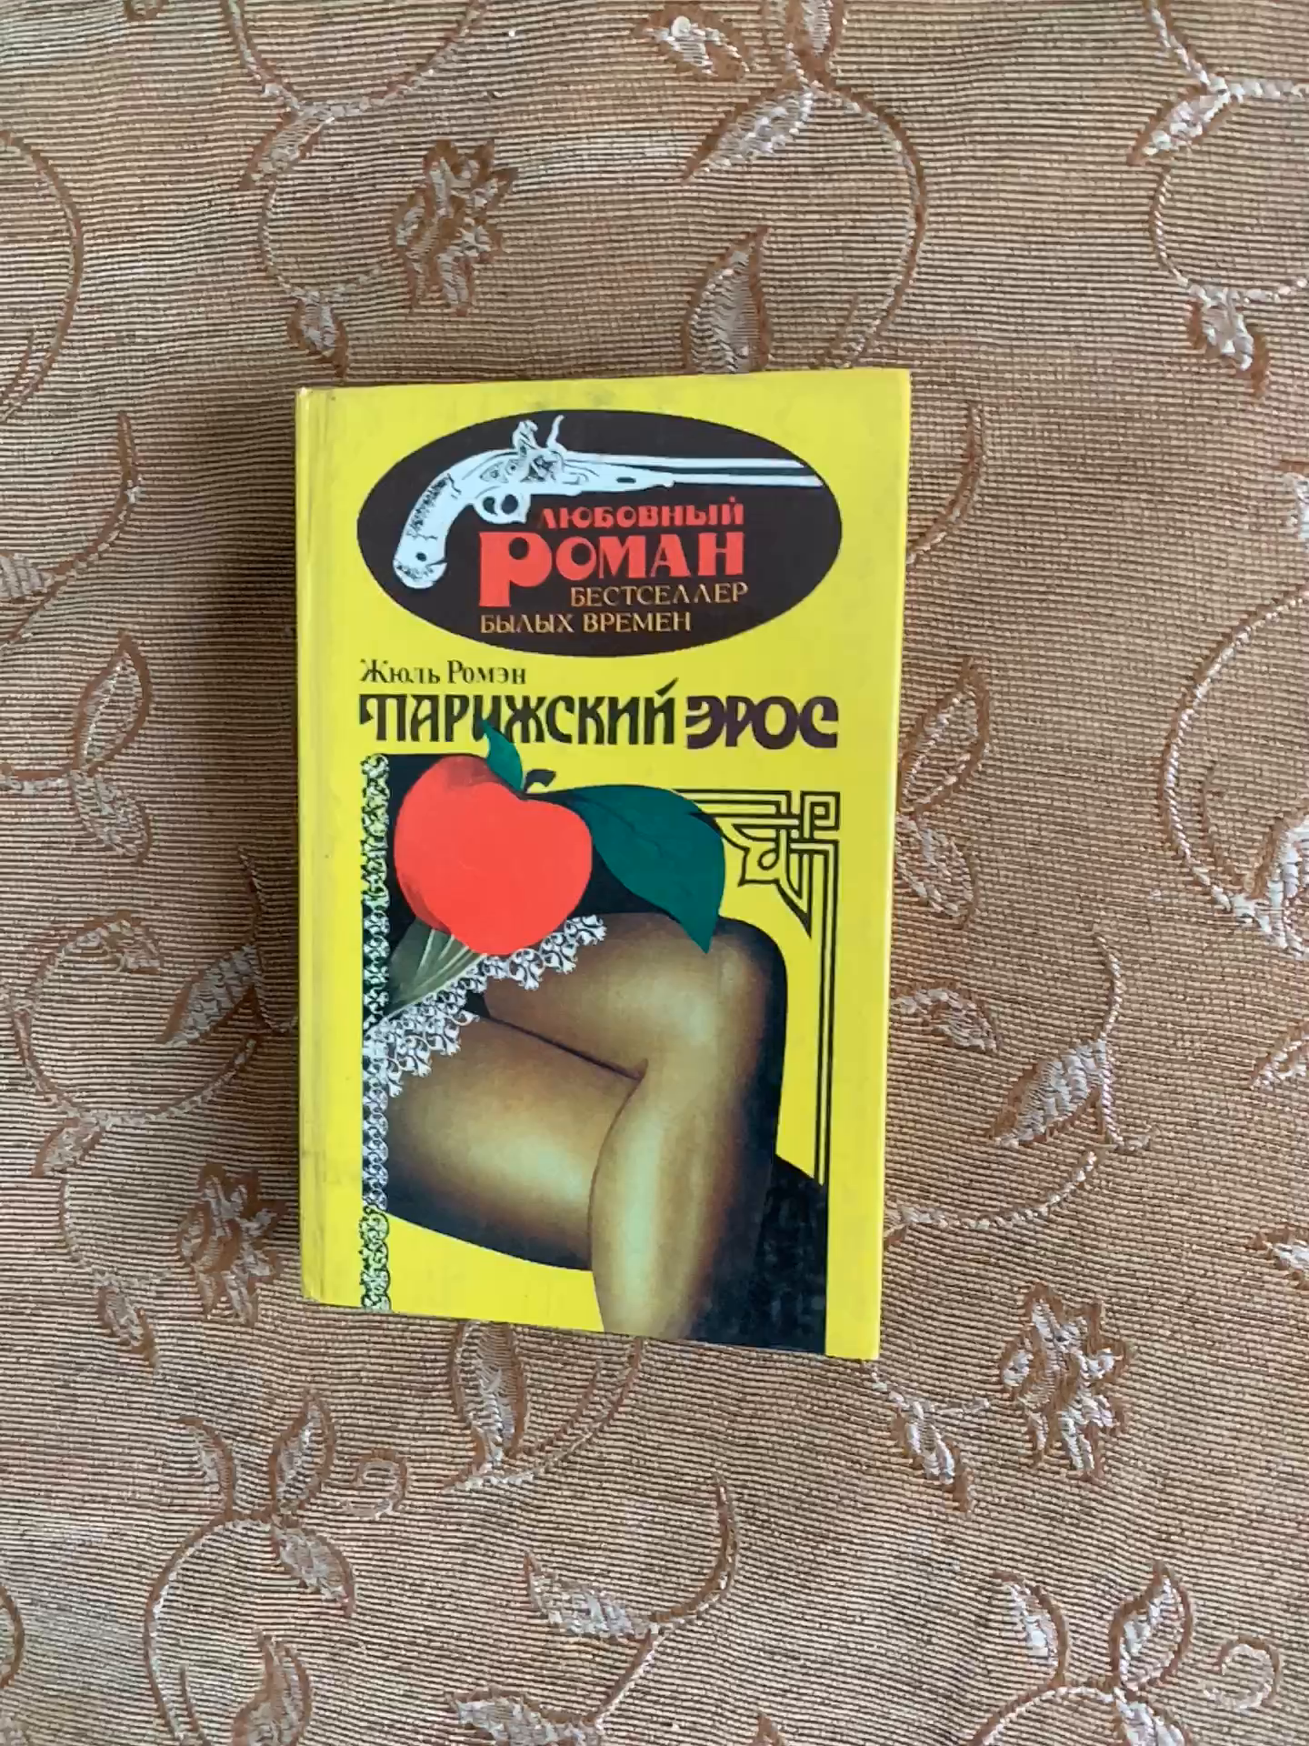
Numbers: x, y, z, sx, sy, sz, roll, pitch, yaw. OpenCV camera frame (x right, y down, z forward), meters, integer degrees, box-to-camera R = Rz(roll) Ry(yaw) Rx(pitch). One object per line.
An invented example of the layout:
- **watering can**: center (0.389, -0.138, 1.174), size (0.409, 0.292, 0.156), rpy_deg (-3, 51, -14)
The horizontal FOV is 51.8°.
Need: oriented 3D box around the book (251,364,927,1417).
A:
- **book**: center (-0.012, 0.003, 0.281), size (0.130, 0.040, 0.196), rpy_deg (1, 95, 10)
